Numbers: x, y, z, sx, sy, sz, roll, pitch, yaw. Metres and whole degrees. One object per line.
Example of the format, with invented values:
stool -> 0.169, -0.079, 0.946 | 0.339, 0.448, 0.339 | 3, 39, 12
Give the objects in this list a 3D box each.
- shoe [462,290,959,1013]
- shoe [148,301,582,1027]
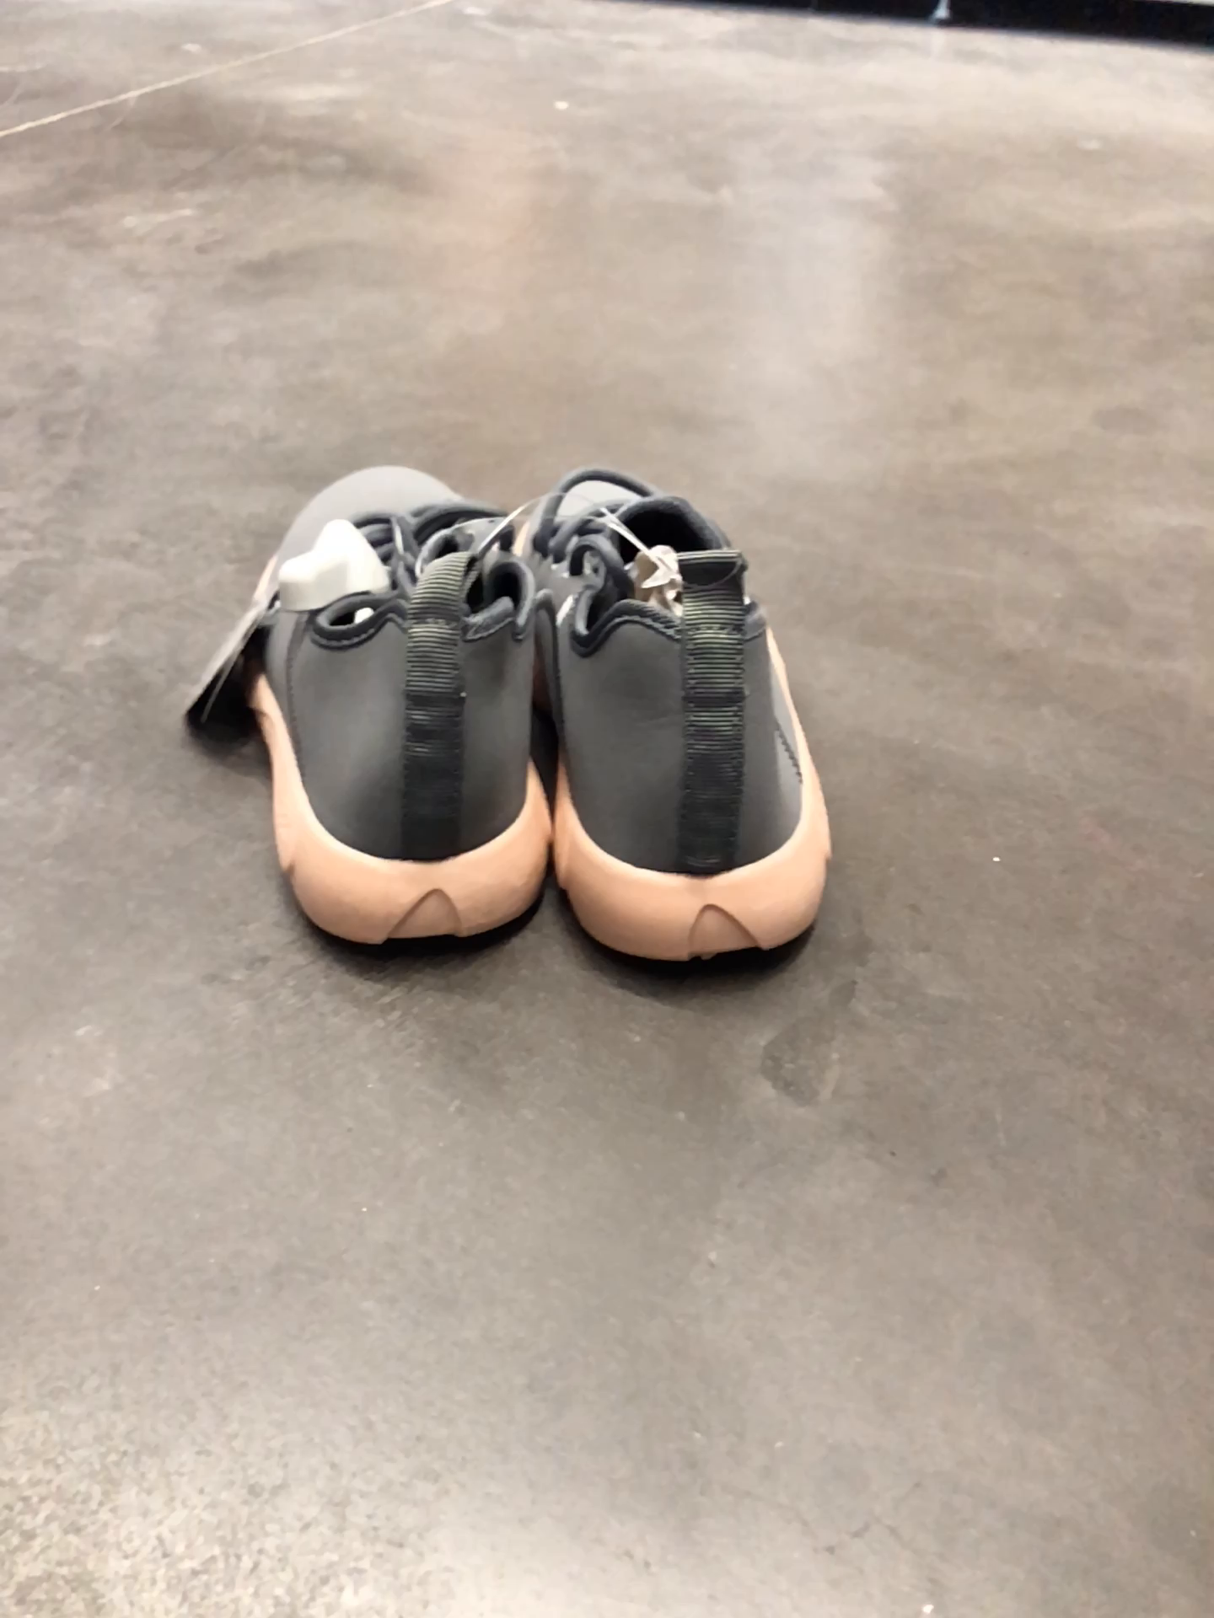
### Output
shoe -> 0.012, -0.066, 0.403 | 0.090, 0.099, 0.241 | -4, 39, -7
shoe -> -0.072, -0.063, 0.405 | 0.090, 0.099, 0.241 | -5, 39, -9
